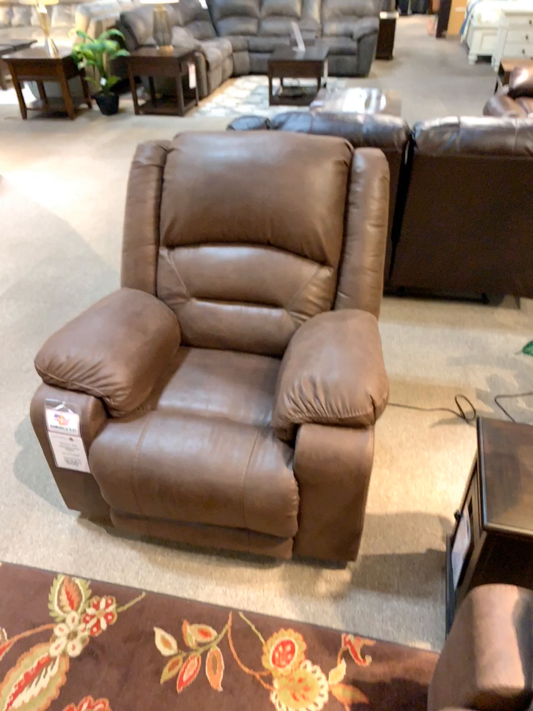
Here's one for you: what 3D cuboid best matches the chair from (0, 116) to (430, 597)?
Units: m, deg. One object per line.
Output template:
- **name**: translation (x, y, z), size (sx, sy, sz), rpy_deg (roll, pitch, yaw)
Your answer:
- **chair**: translation (-0.069, -0.086, 1.813), size (1.001, 1.027, 1.069), rpy_deg (8, 38, 12)
